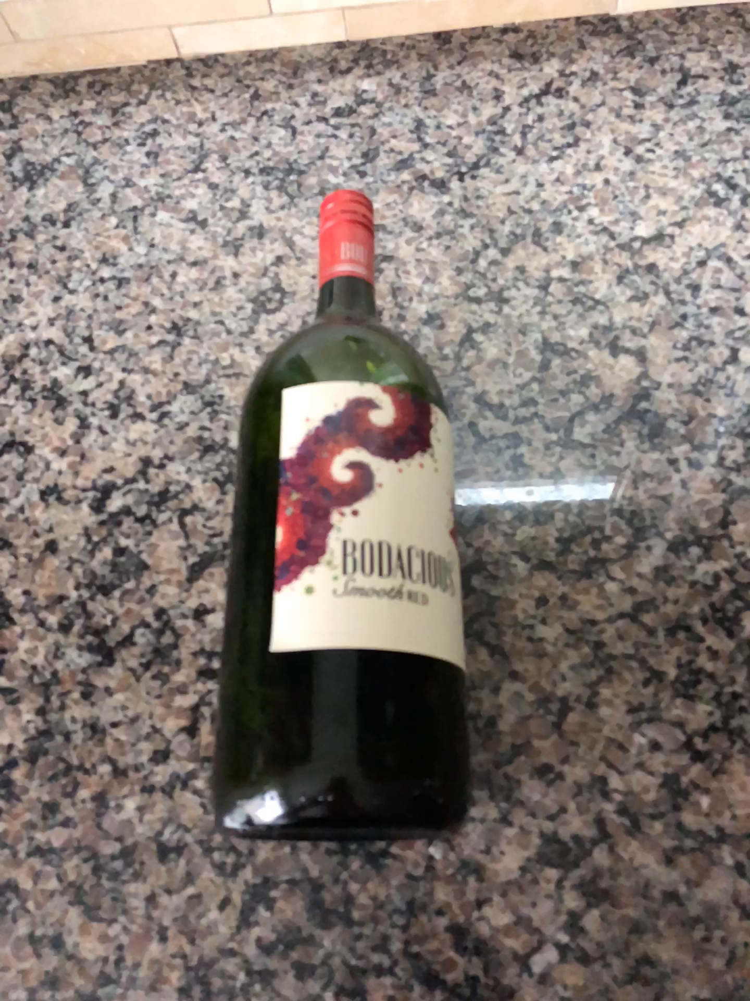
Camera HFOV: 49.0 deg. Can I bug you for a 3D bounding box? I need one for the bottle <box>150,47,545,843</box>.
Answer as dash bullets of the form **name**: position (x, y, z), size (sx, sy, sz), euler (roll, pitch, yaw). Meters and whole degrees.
- **bottle**: position (-0.011, -0.029, 0.383), size (0.100, 0.110, 0.340), euler (-23, 56, 39)
